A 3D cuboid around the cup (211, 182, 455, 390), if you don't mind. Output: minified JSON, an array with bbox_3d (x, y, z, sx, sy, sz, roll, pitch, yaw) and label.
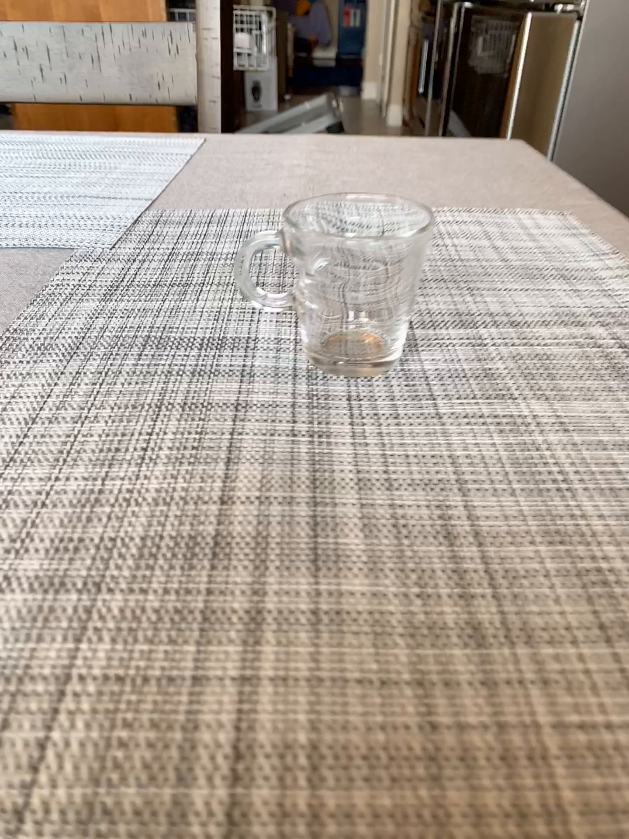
[{"bbox_3d":[0.005,-0.054,0.260,0.082,0.060,0.058,2,34,-2],"label":"cup"}]
